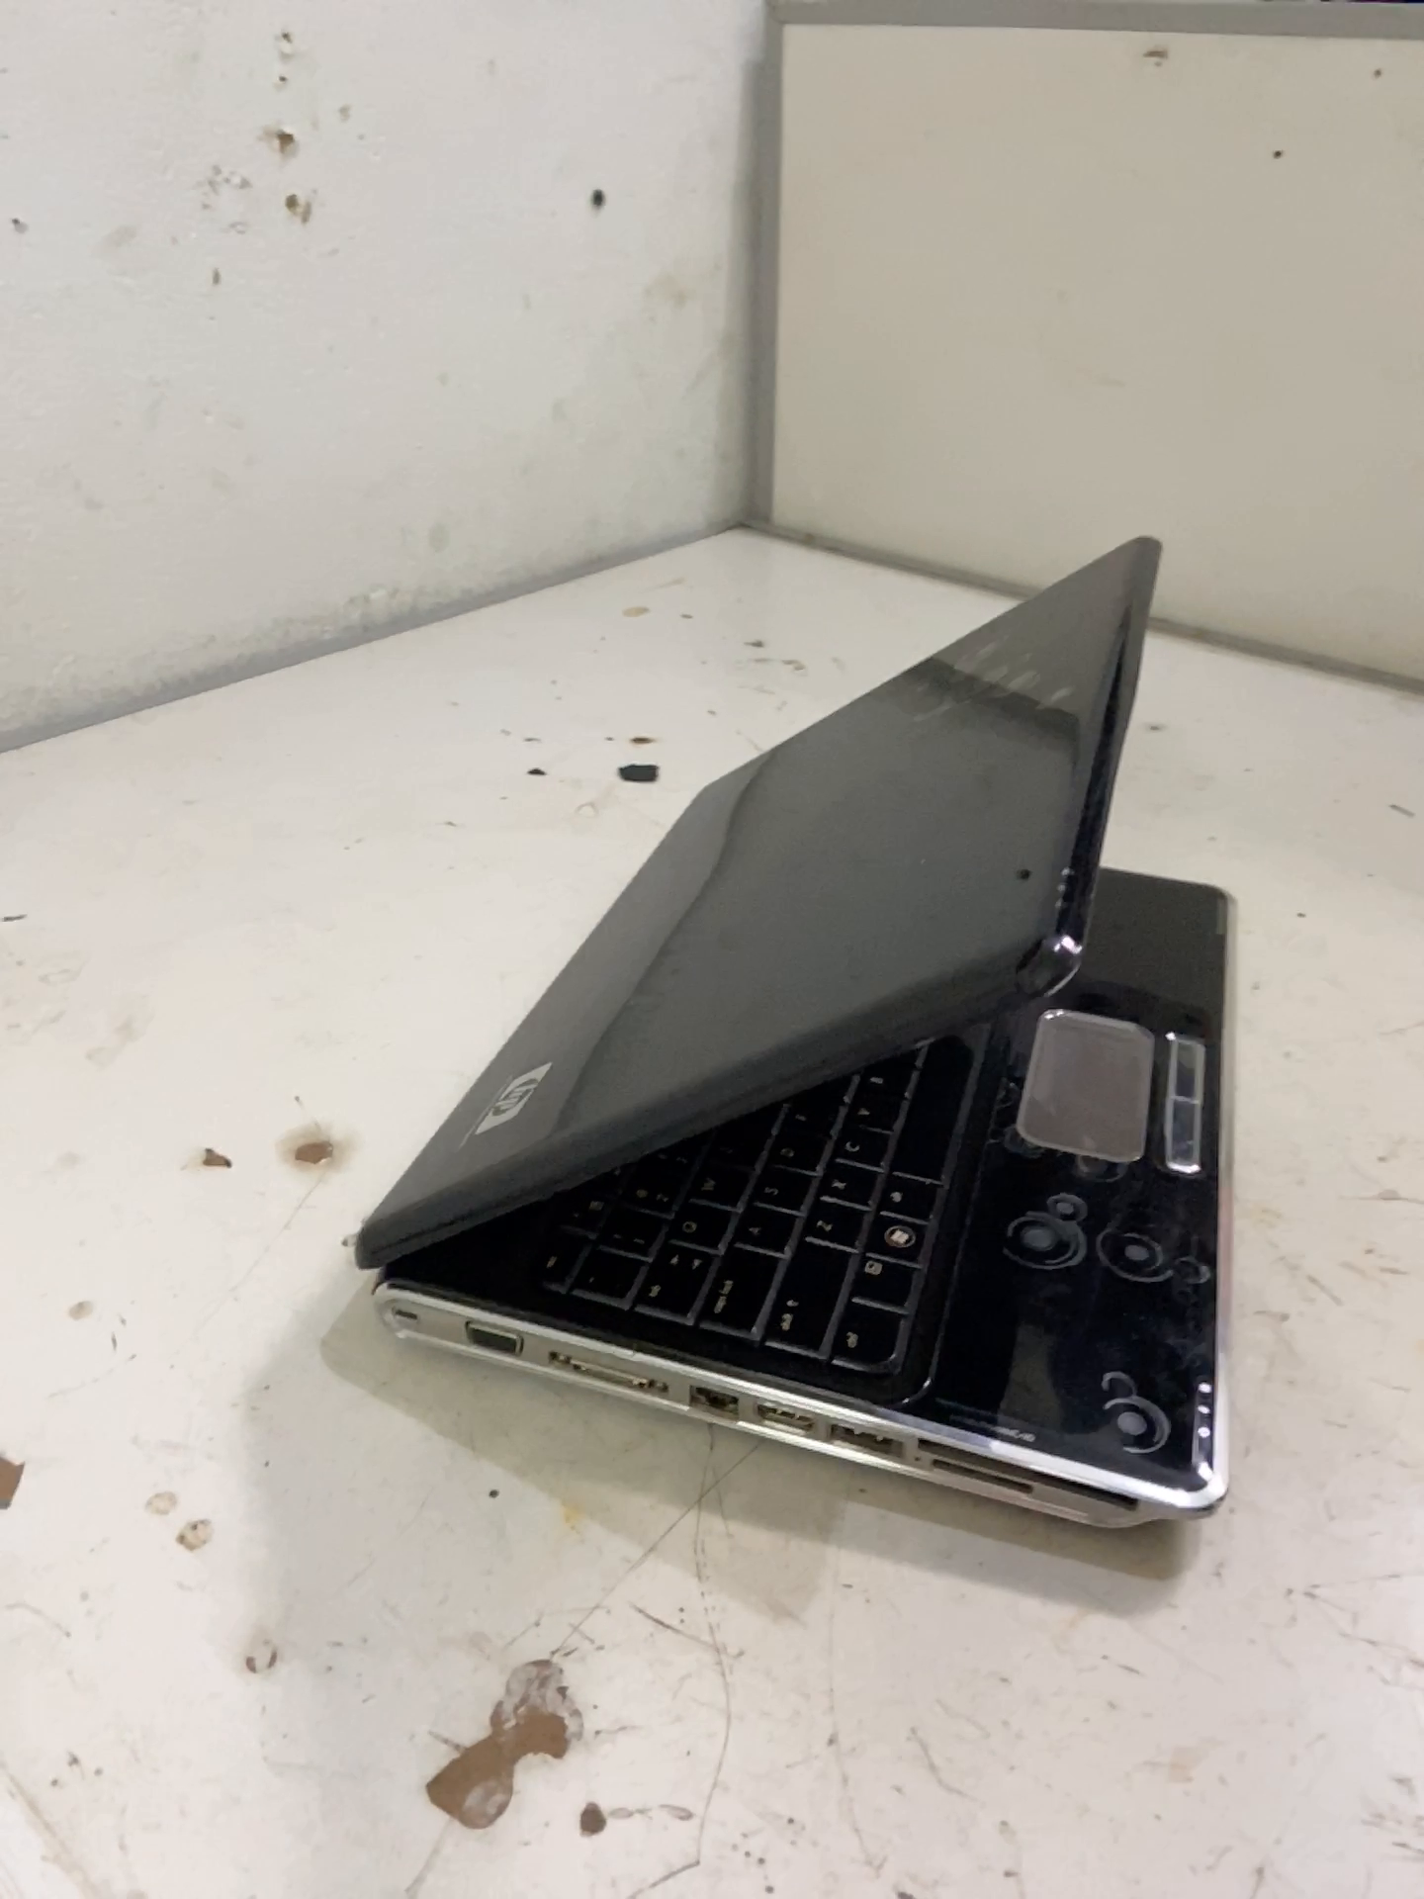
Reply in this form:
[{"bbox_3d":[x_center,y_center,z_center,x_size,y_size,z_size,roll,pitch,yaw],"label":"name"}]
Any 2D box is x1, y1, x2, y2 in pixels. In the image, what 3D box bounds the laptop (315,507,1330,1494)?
[{"bbox_3d":[0.065,-0.026,0.491,0.231,0.137,0.329,11,32,14],"label":"laptop"}]
